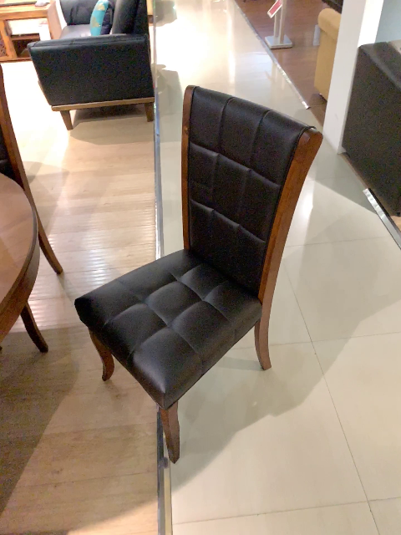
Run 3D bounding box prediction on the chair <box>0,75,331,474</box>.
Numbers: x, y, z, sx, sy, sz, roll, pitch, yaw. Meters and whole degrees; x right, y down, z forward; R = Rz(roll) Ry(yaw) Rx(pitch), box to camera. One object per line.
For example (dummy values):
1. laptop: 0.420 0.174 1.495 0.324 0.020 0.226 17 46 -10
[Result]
1. chair: -0.076 0.036 1.256 0.601 0.936 0.532 -34 51 -28
